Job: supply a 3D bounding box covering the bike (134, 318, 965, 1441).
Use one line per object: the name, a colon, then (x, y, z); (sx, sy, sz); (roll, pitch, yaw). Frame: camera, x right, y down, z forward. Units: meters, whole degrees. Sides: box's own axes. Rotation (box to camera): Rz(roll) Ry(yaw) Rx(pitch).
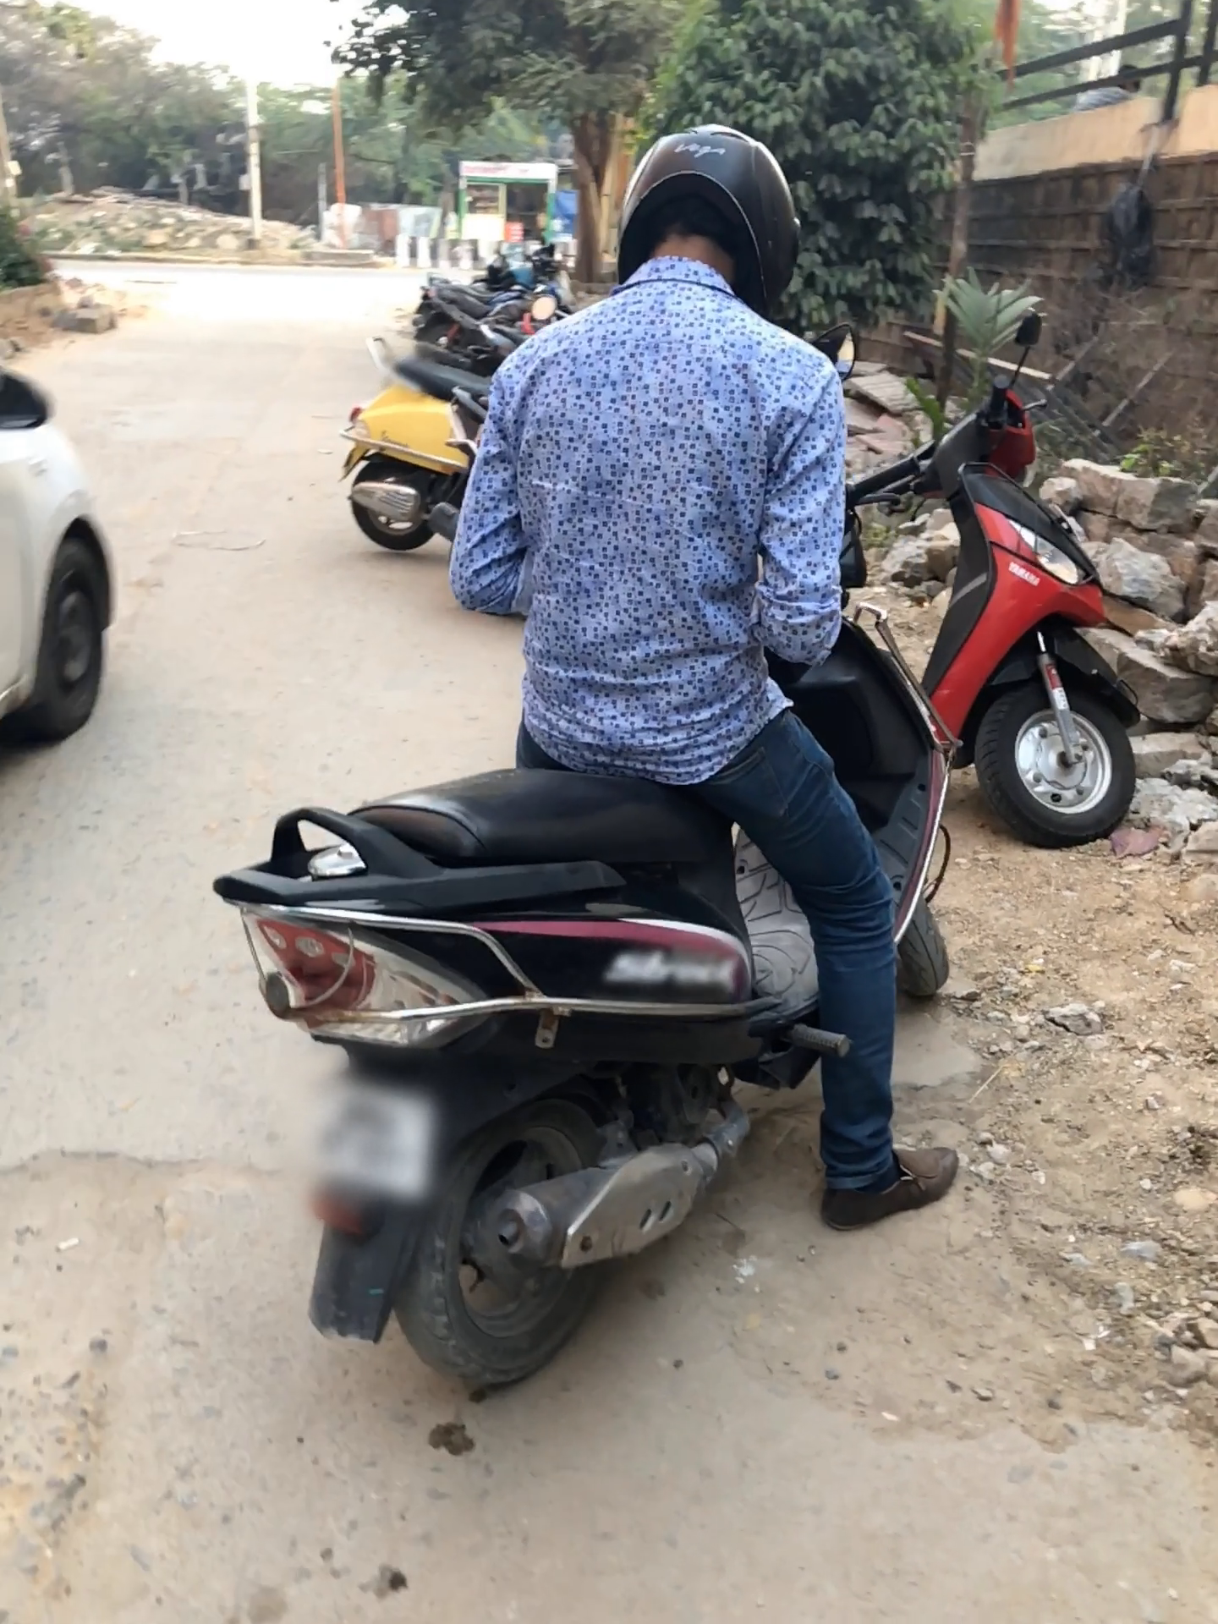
bike: (0.023, -0.110, 2.126); (0.560, 1.055, 1.480); (14, 29, 25)
